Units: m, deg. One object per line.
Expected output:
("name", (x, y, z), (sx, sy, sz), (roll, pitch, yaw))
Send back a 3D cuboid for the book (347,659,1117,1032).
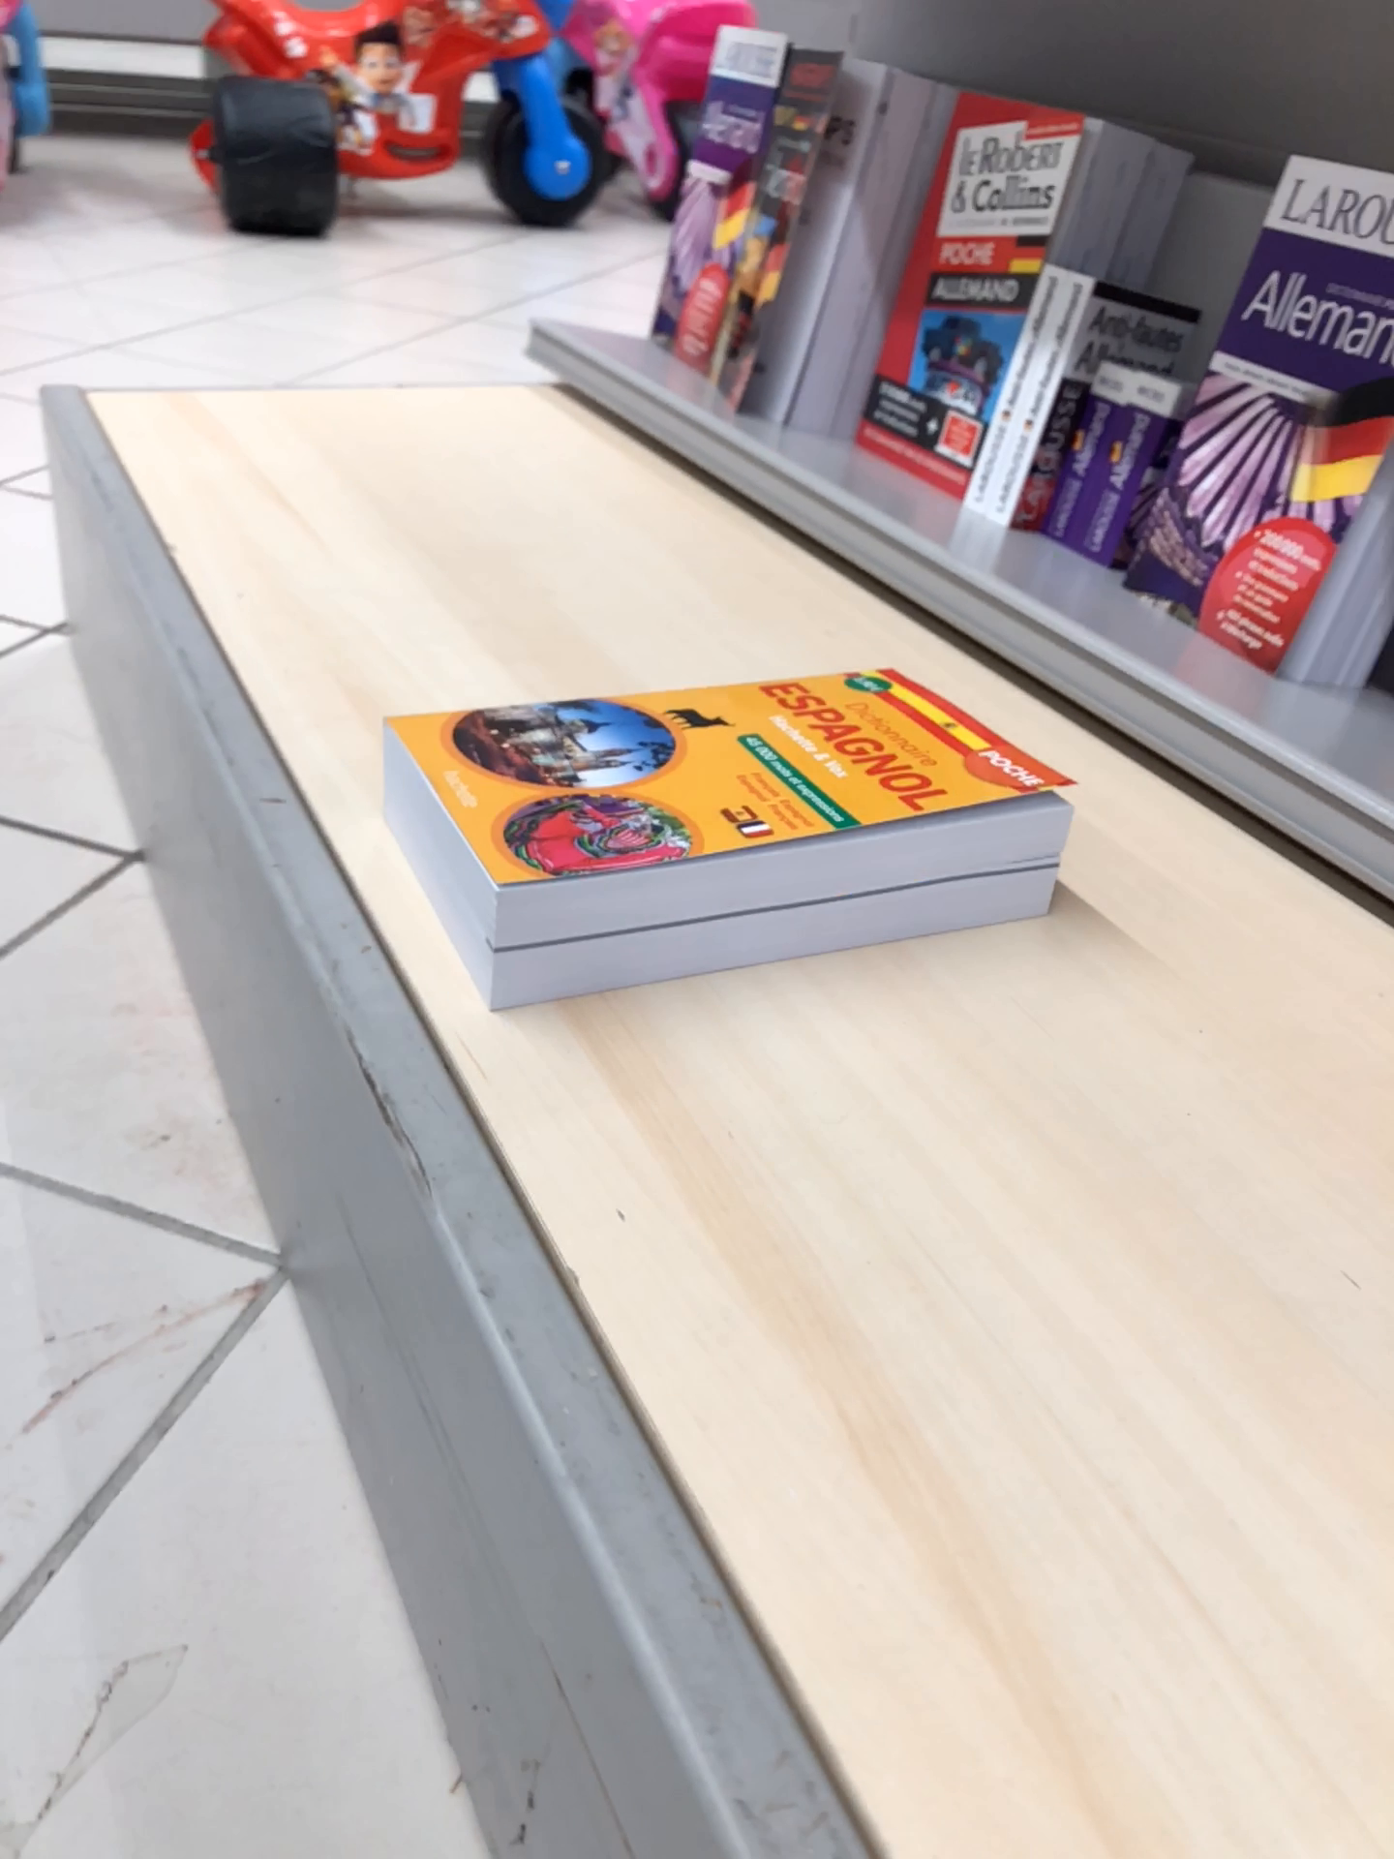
("book", (0.006, -0.033, 0.451), (0.191, 0.040, 0.117), (-8, 33, -23))
